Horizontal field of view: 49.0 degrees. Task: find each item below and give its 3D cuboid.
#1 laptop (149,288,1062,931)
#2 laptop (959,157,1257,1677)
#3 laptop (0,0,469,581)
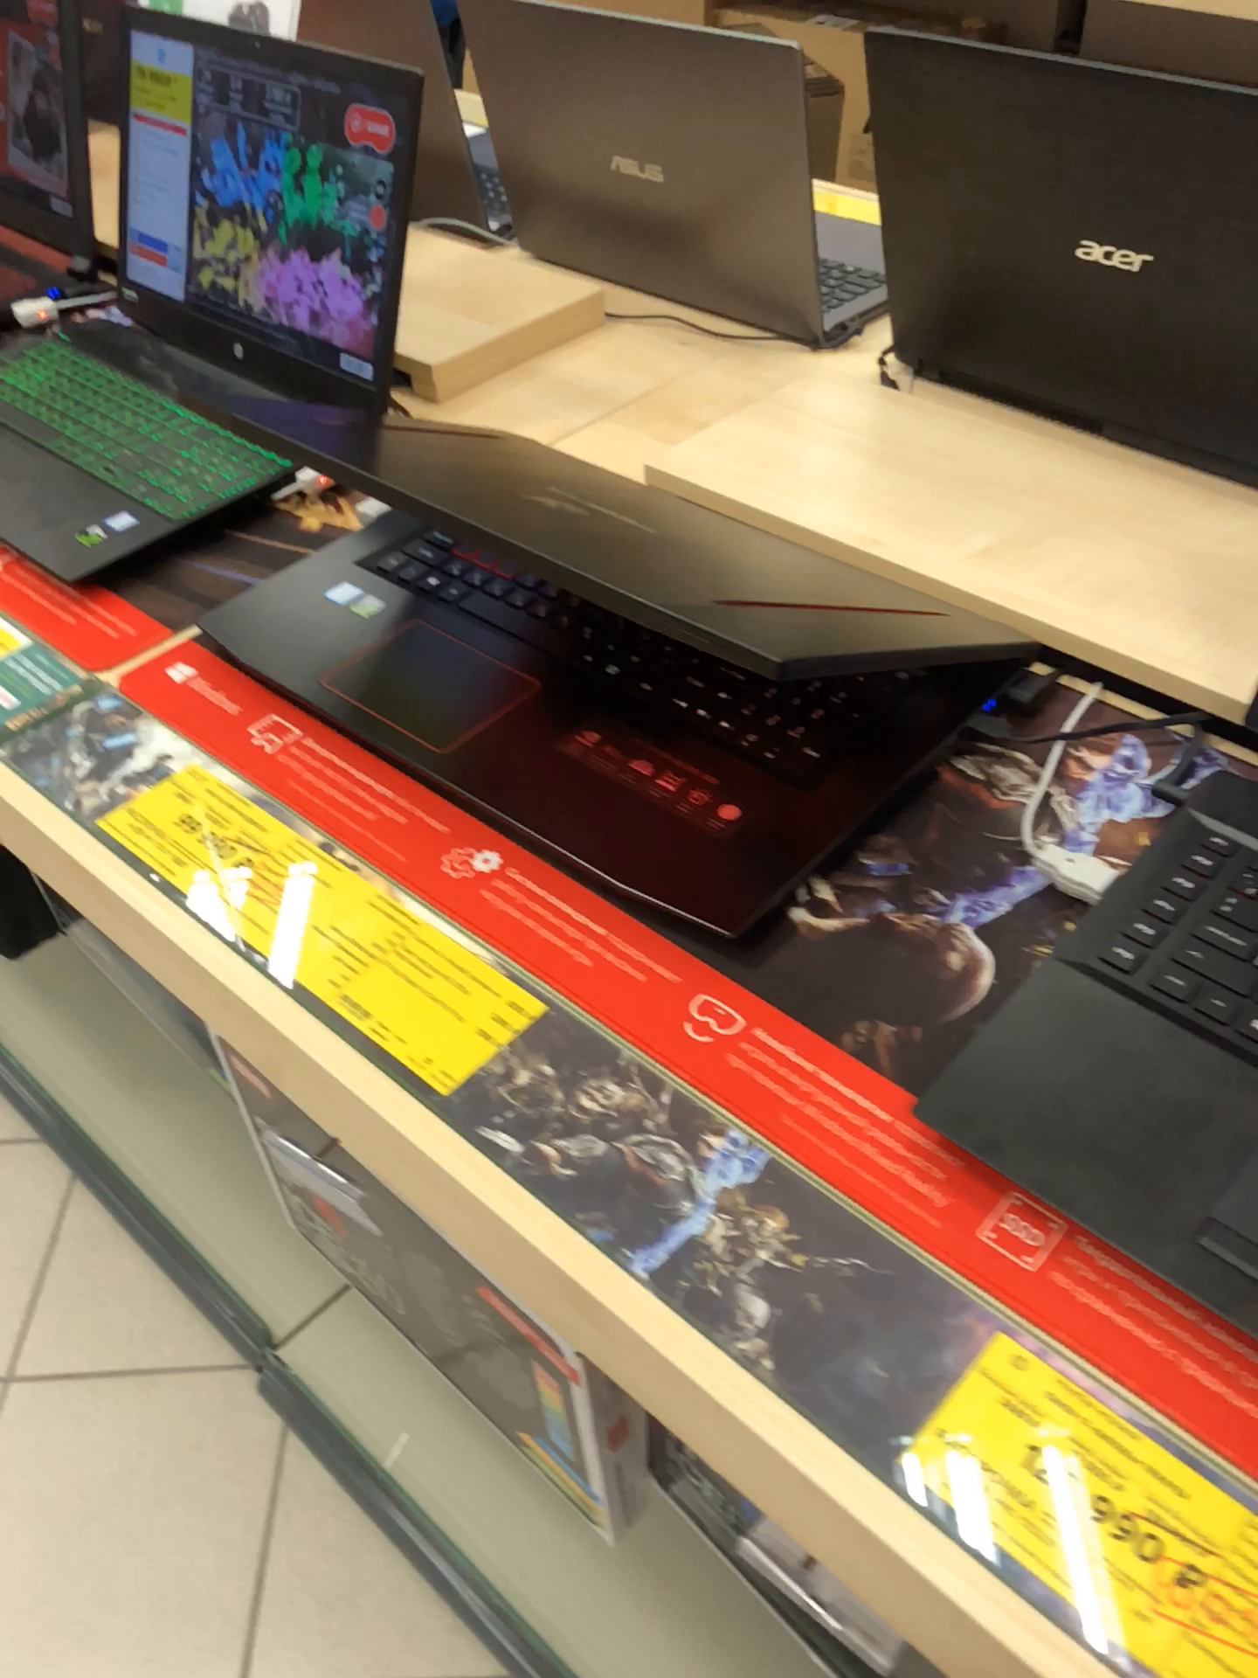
[{"bbox_3d":[-0.024,-0.161,0.771,0.420,0.124,0.261,29,52,32],"label":"laptop"},{"bbox_3d":[0.373,0.002,0.454,0.378,0.250,0.356,31,54,33],"label":"laptop"},{"bbox_3d":[-0.382,-0.422,1.003,0.351,0.230,0.343,32,54,31],"label":"laptop"}]
